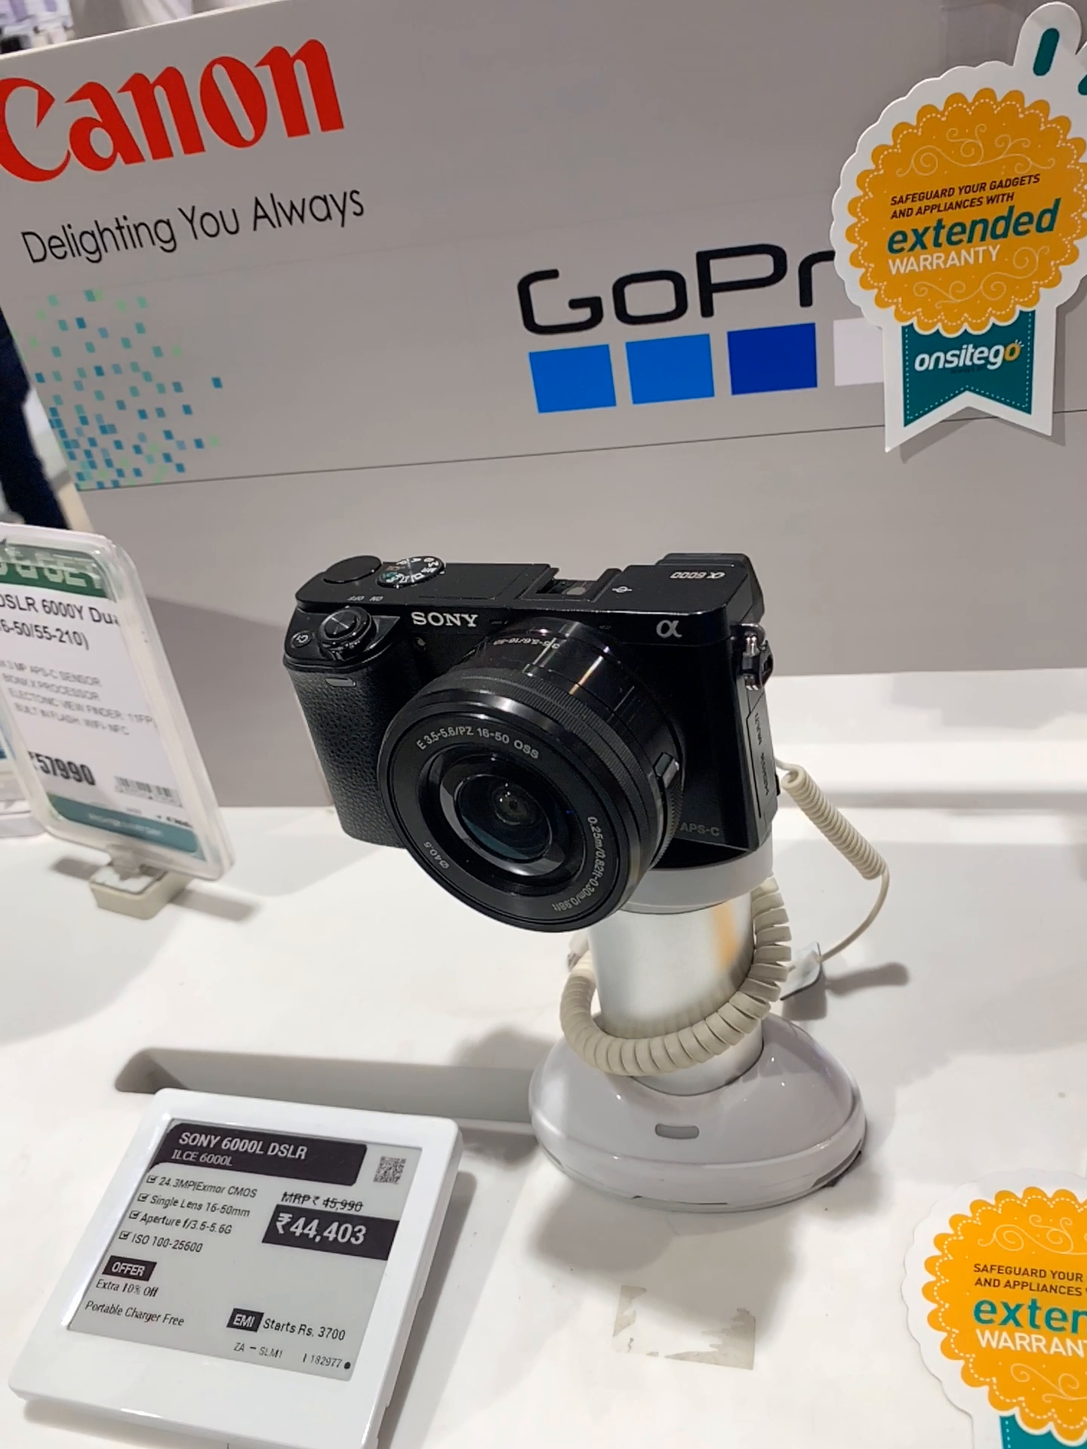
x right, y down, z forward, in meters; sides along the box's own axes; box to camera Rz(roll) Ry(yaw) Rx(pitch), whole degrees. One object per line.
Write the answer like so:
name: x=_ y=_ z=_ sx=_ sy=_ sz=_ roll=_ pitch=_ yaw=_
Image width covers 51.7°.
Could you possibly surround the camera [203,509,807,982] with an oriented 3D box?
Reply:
camera: x=-0.004 y=0.001 z=0.267 sx=0.120 sy=0.090 sz=0.050 roll=5 pitch=34 yaw=24
